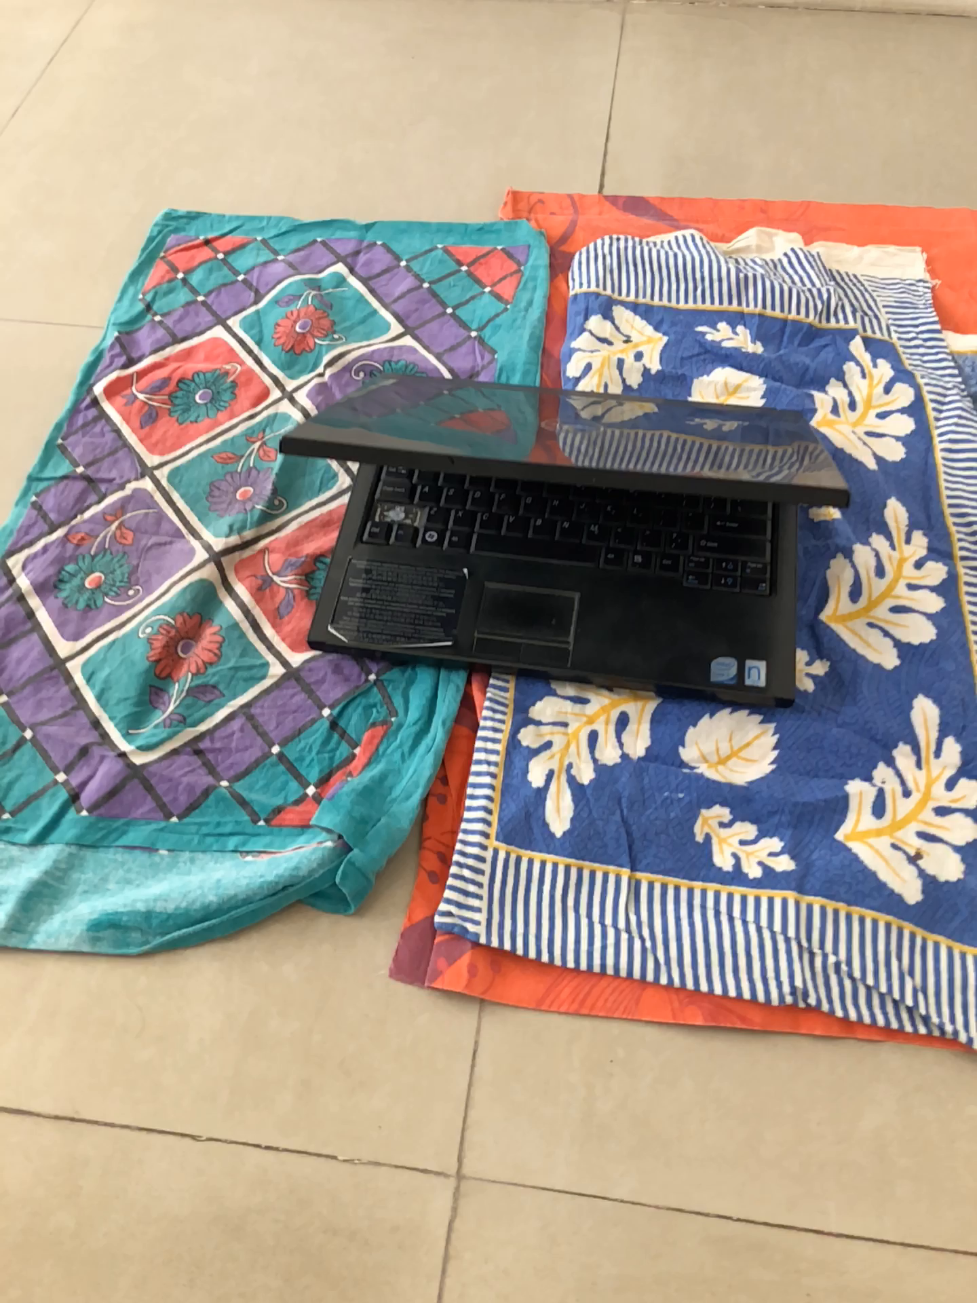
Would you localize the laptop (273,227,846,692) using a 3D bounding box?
[{"bbox_3d":[0.052,-0.127,0.684,0.298,0.143,0.236,7,55,6],"label":"laptop"}]
